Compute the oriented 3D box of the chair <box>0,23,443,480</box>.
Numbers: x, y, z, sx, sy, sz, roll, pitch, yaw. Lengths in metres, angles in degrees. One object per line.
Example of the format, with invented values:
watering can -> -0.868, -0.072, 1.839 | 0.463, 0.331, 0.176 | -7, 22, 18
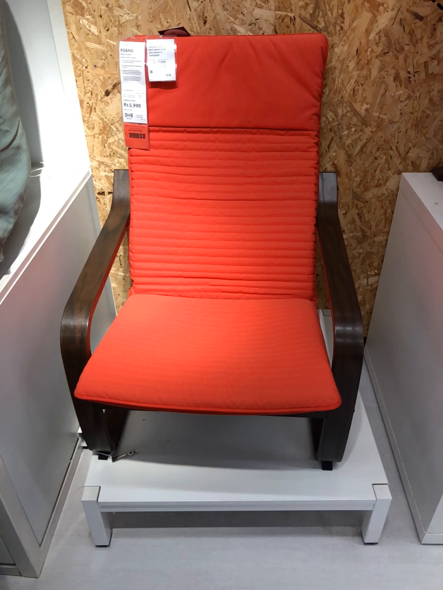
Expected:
chair -> -0.018, -0.150, 1.273 | 0.750, 0.894, 0.796 | 1, 36, 3
